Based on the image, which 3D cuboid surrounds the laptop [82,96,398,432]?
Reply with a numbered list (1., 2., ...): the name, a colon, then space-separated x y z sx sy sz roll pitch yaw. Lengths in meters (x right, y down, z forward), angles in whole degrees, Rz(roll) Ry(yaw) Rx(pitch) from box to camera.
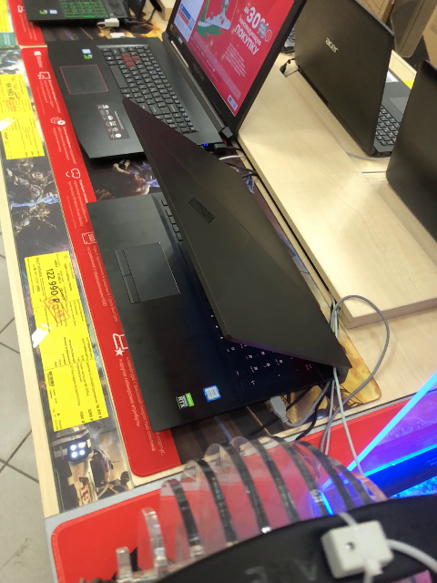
1. laptop: -0.010 -0.067 0.639 0.258 0.166 0.396 -12 54 -18
